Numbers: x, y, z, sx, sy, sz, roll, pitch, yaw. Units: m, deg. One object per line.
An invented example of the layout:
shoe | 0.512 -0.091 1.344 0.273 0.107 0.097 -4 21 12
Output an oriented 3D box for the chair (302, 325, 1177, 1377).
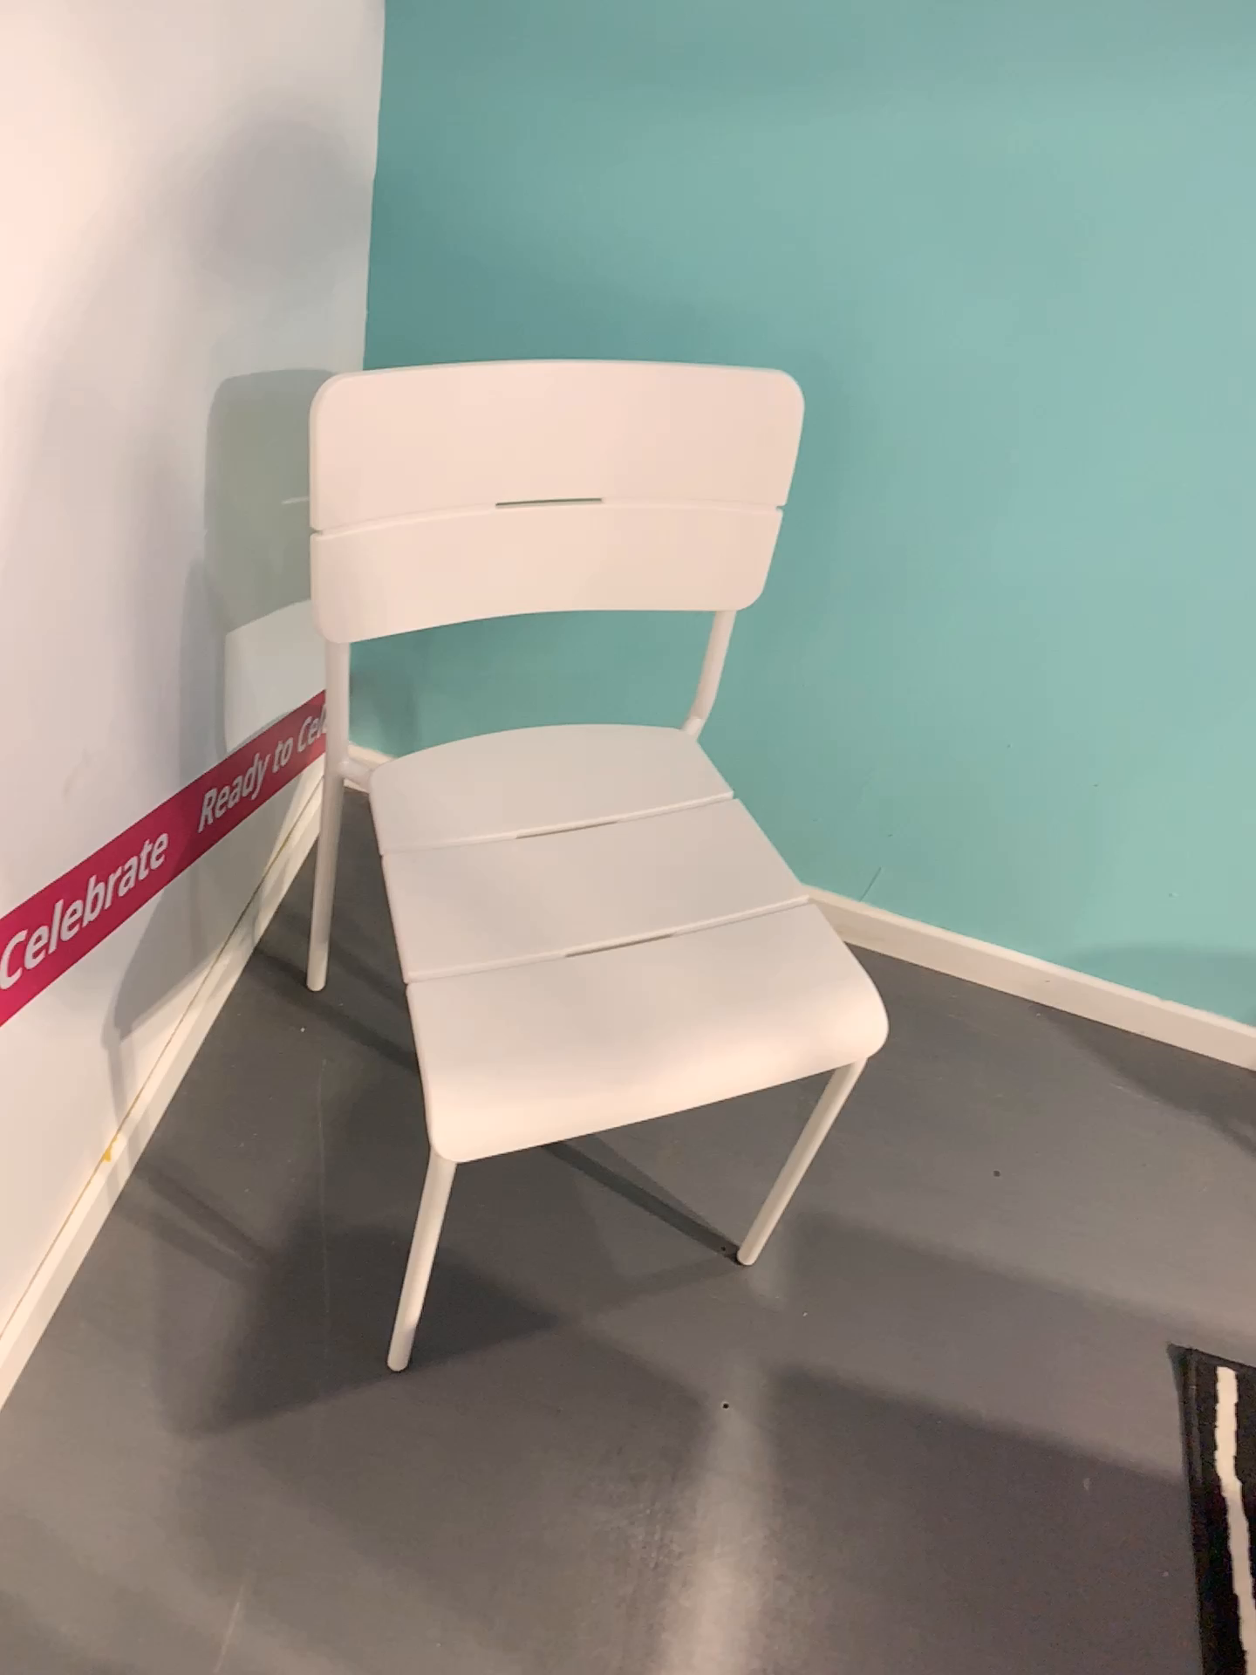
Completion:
chair | -0.022 0.053 1.118 0.430 0.808 0.451 -8 52 -21
